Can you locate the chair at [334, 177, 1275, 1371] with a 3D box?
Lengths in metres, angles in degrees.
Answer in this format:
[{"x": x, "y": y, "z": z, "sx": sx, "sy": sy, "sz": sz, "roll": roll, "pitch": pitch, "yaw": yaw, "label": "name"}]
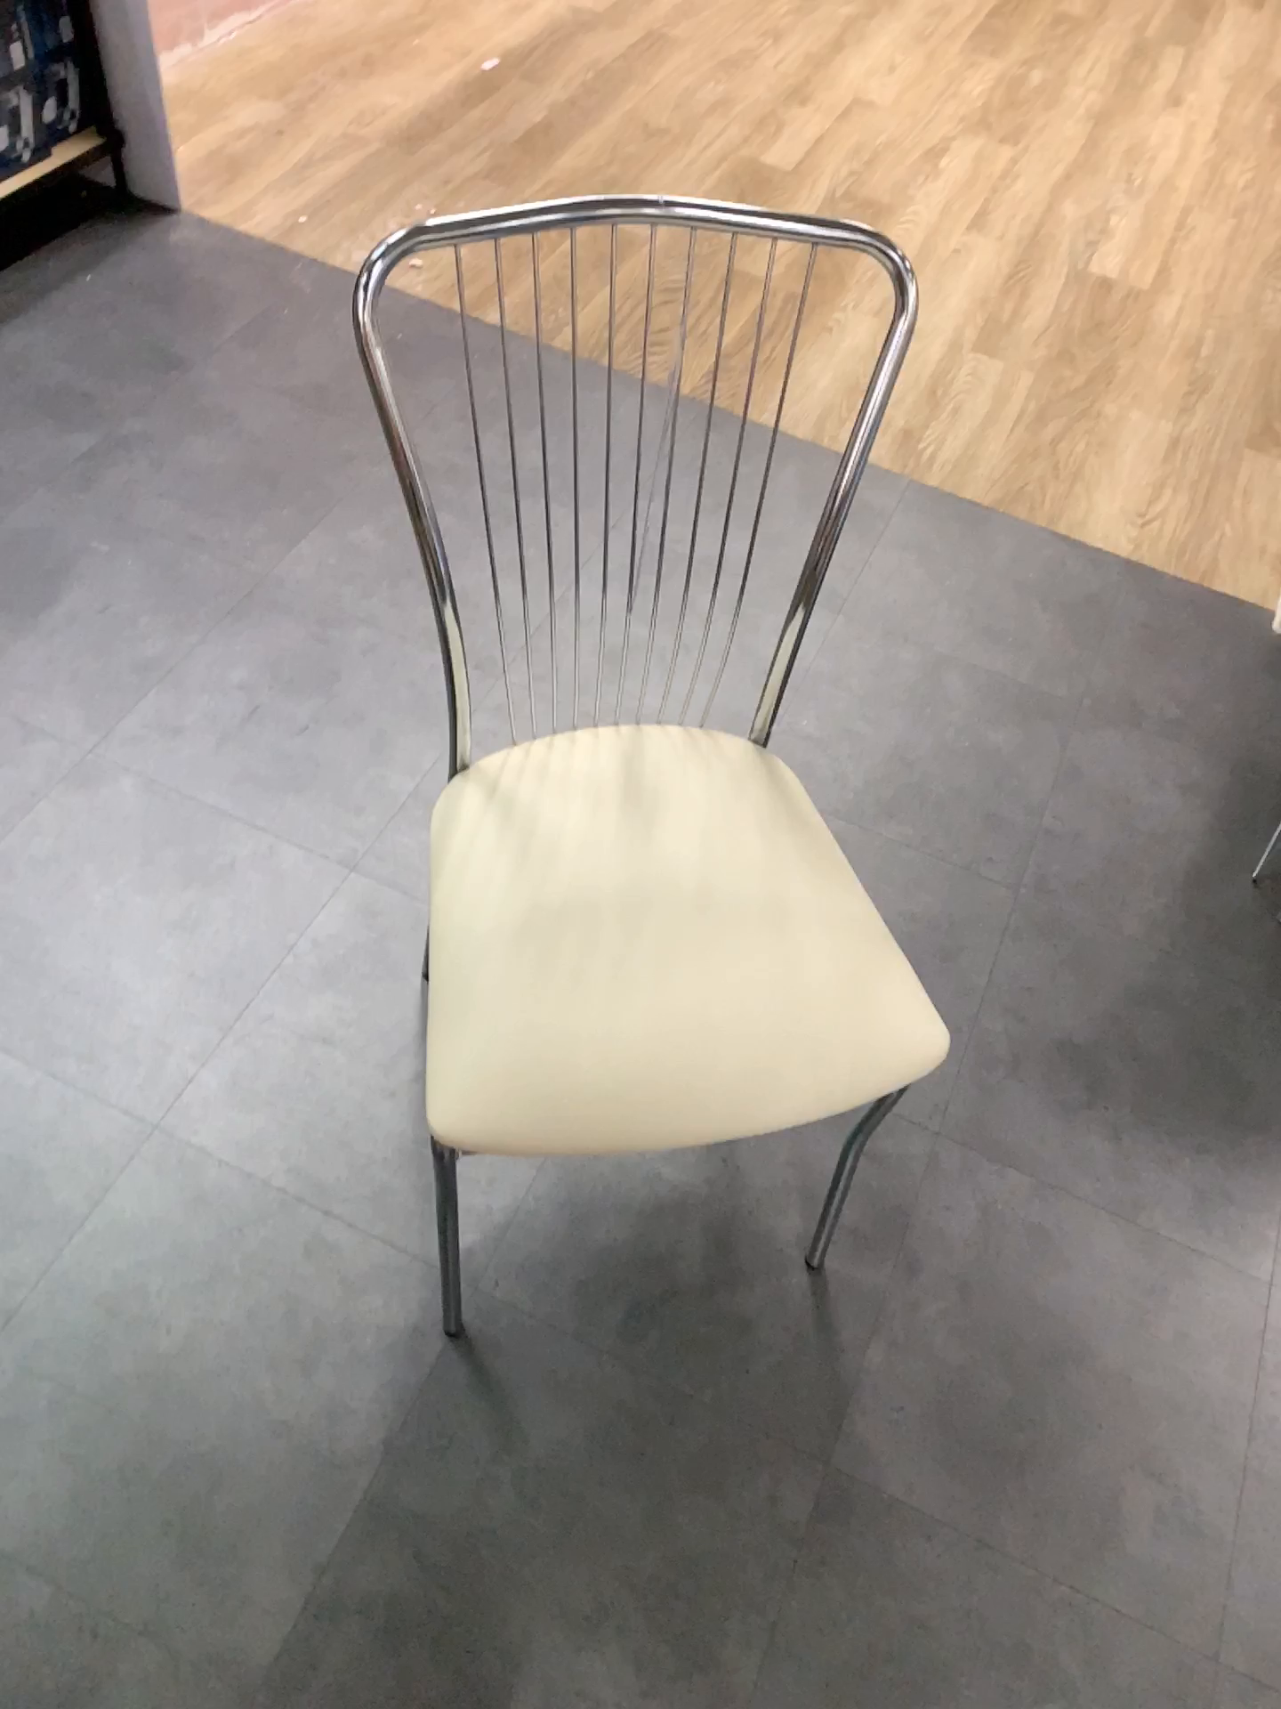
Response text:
[{"x": 0.003, "y": 0.013, "z": 1.199, "sx": 0.472, "sy": 0.966, "sz": 0.554, "roll": -4, "pitch": 54, "yaw": -12, "label": "chair"}]
